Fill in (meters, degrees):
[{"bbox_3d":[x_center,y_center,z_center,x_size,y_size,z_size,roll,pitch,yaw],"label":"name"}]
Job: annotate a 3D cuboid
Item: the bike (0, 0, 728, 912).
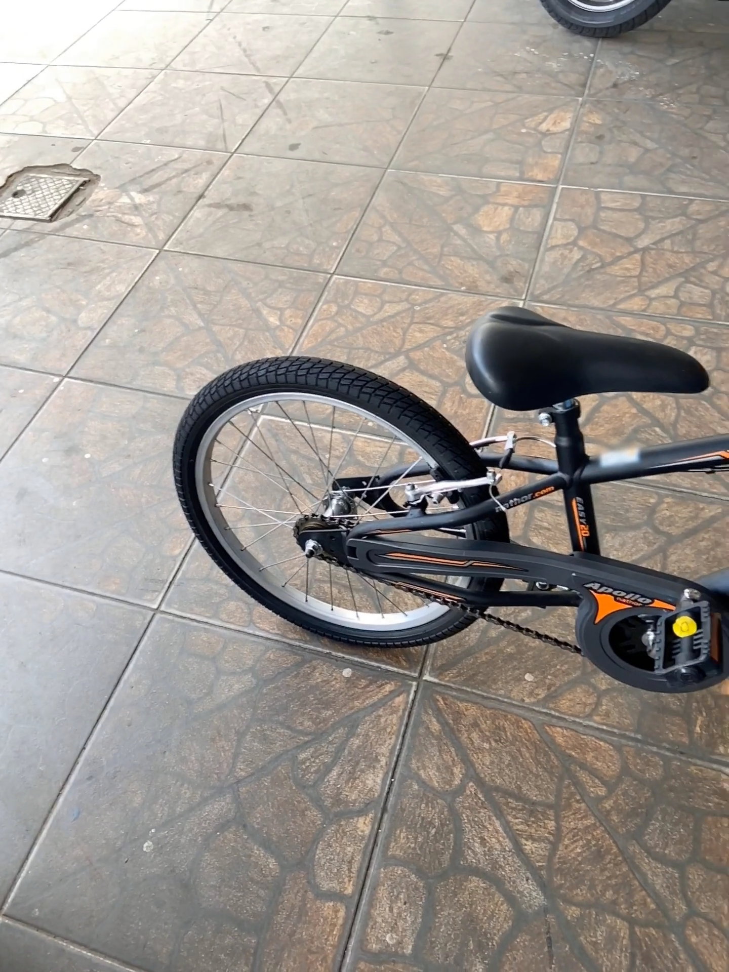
[{"bbox_3d":[0.383,-0.104,0.862,1.349,0.980,0.726,7,54,8],"label":"bike"}]
